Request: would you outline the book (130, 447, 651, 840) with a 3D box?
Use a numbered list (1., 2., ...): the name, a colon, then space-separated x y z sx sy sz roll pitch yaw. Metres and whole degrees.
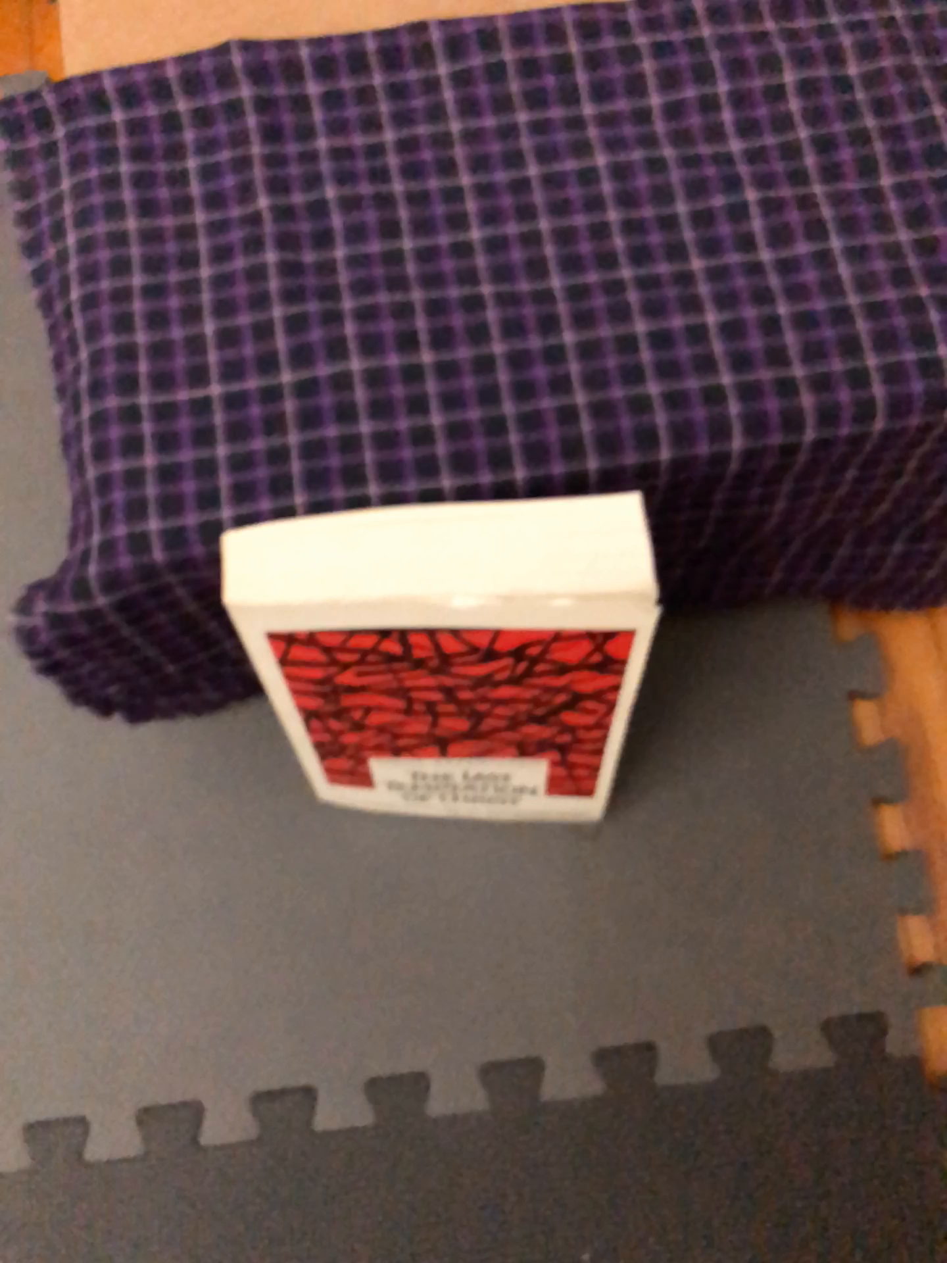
1. book: -0.017 0.018 0.412 0.150 0.210 0.050 7 65 8
